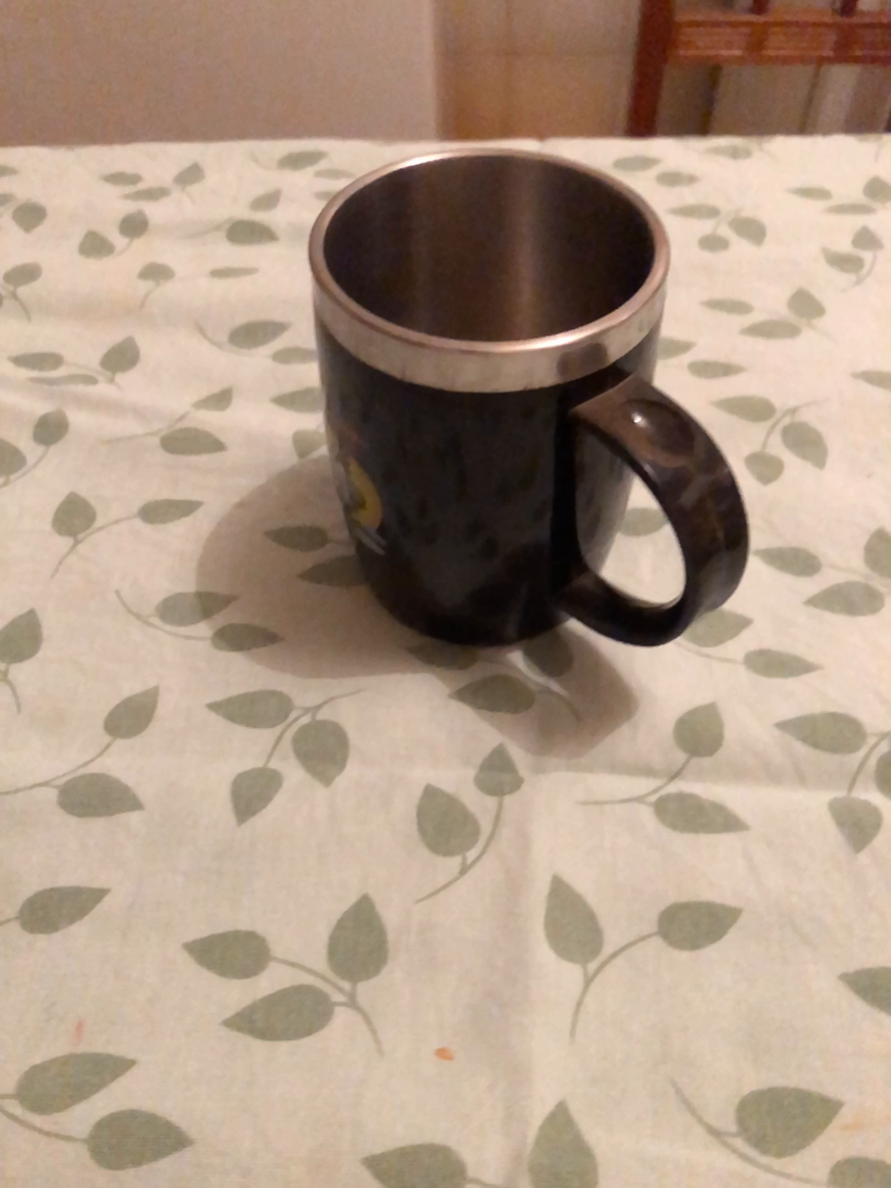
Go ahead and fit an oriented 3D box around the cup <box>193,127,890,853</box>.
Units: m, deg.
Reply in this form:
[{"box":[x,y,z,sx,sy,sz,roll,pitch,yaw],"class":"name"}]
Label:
[{"box":[0.019,-0.029,0.269,0.090,0.119,0.130,-37,60,-25],"class":"cup"}]
